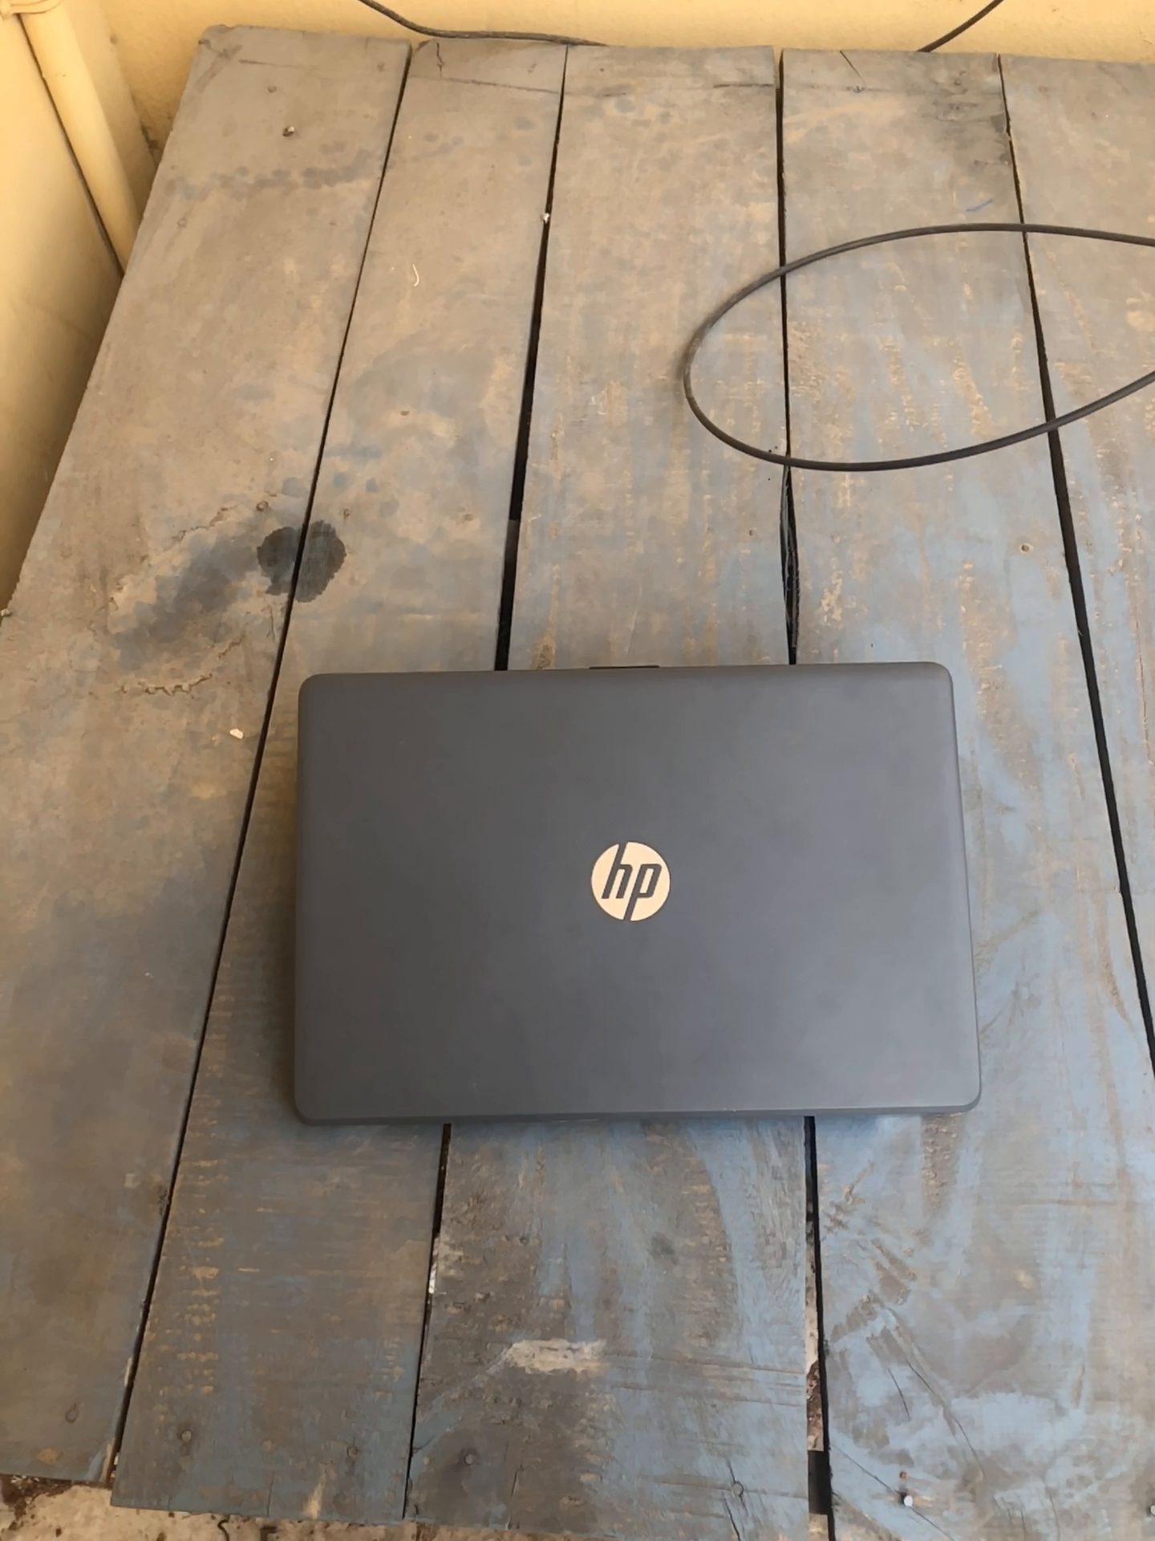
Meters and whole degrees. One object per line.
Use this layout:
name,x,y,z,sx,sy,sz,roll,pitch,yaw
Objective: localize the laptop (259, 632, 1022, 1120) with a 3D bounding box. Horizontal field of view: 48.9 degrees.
laptop,0.028,0.055,0.703,0.361,0.096,0.244,-1,61,1
